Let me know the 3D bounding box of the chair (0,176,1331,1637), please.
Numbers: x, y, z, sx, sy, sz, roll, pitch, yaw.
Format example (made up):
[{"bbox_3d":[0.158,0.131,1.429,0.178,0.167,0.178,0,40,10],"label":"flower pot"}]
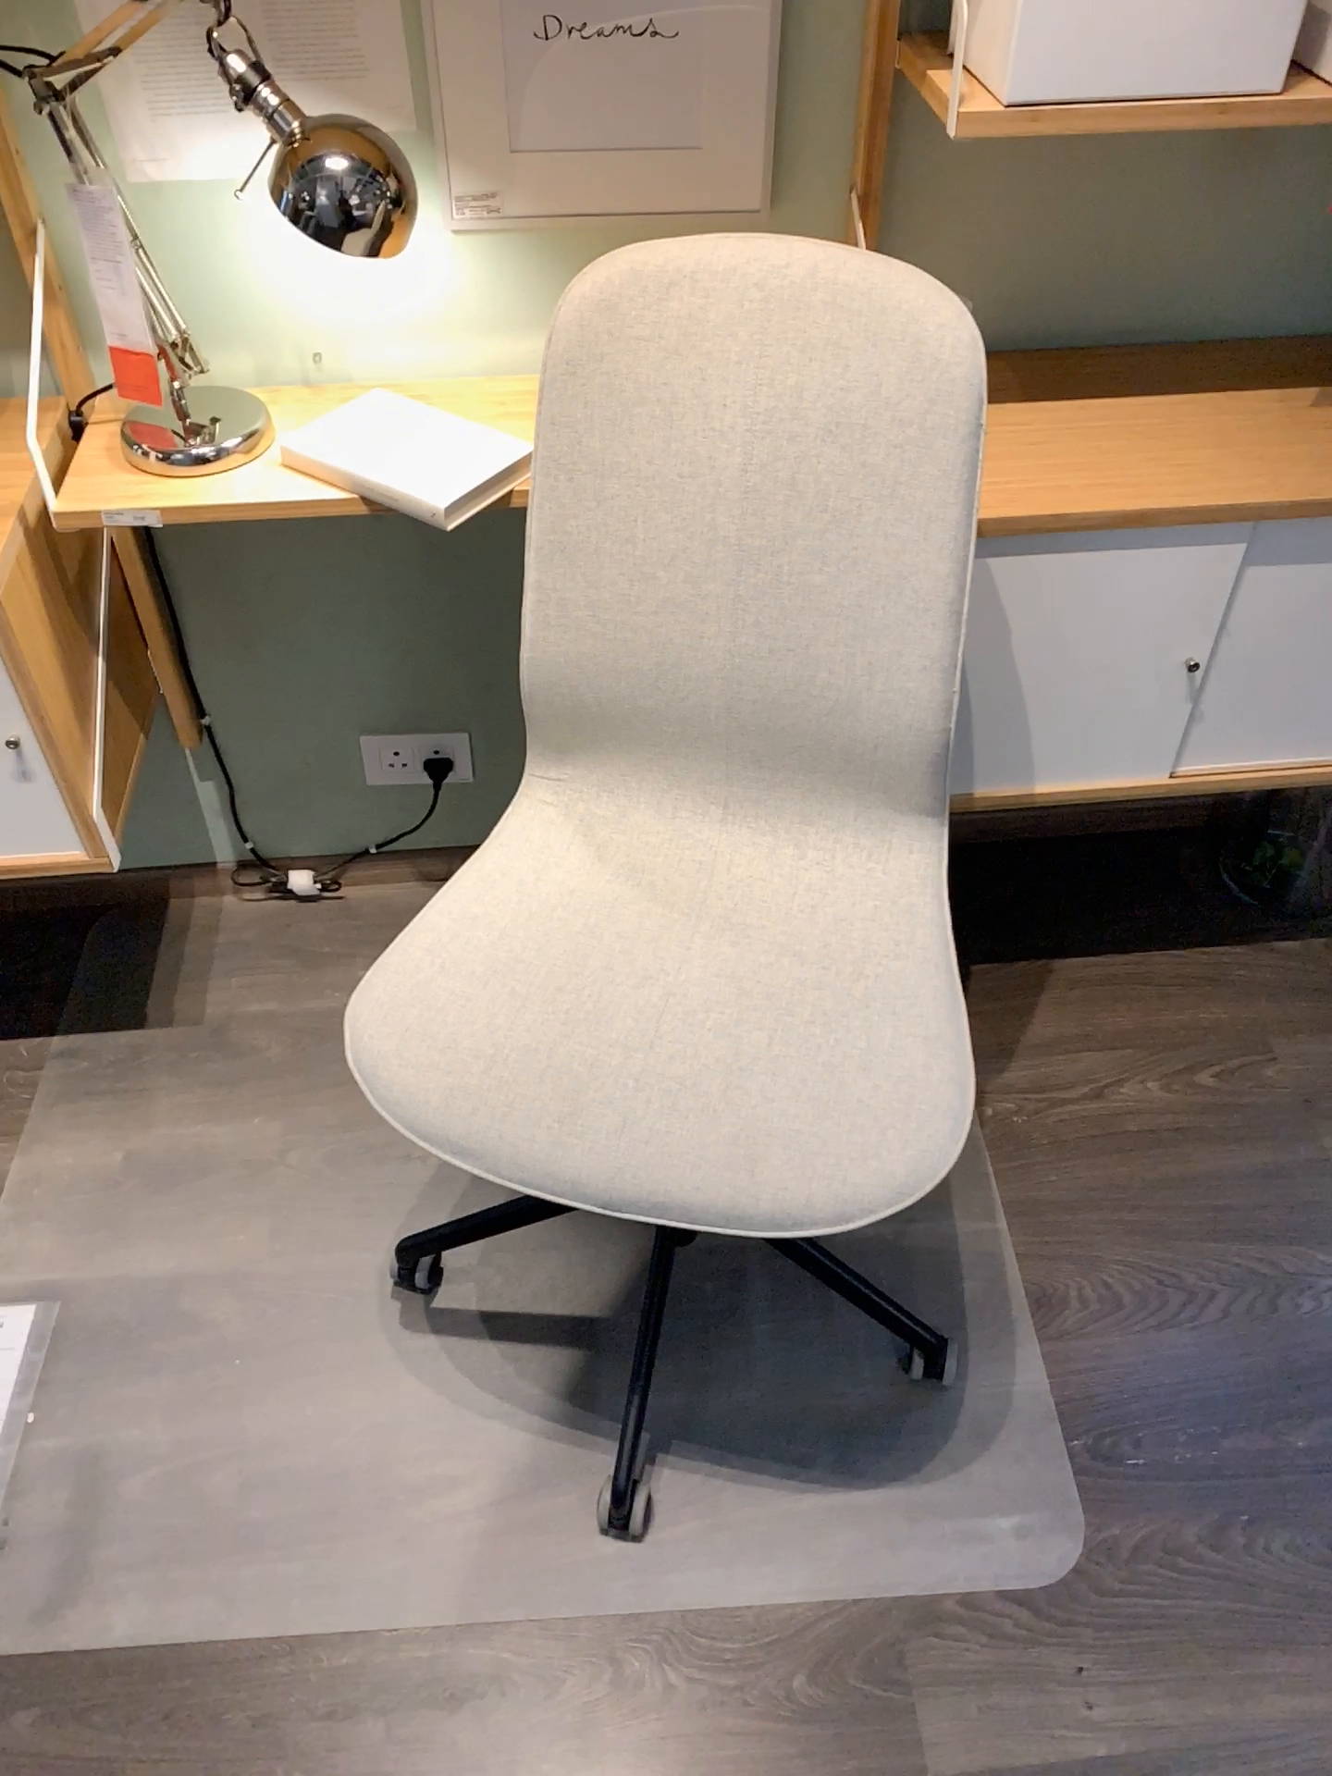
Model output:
[{"bbox_3d":[0.027,0.058,1.182,0.670,1.016,0.673,8,46,9],"label":"chair"}]
